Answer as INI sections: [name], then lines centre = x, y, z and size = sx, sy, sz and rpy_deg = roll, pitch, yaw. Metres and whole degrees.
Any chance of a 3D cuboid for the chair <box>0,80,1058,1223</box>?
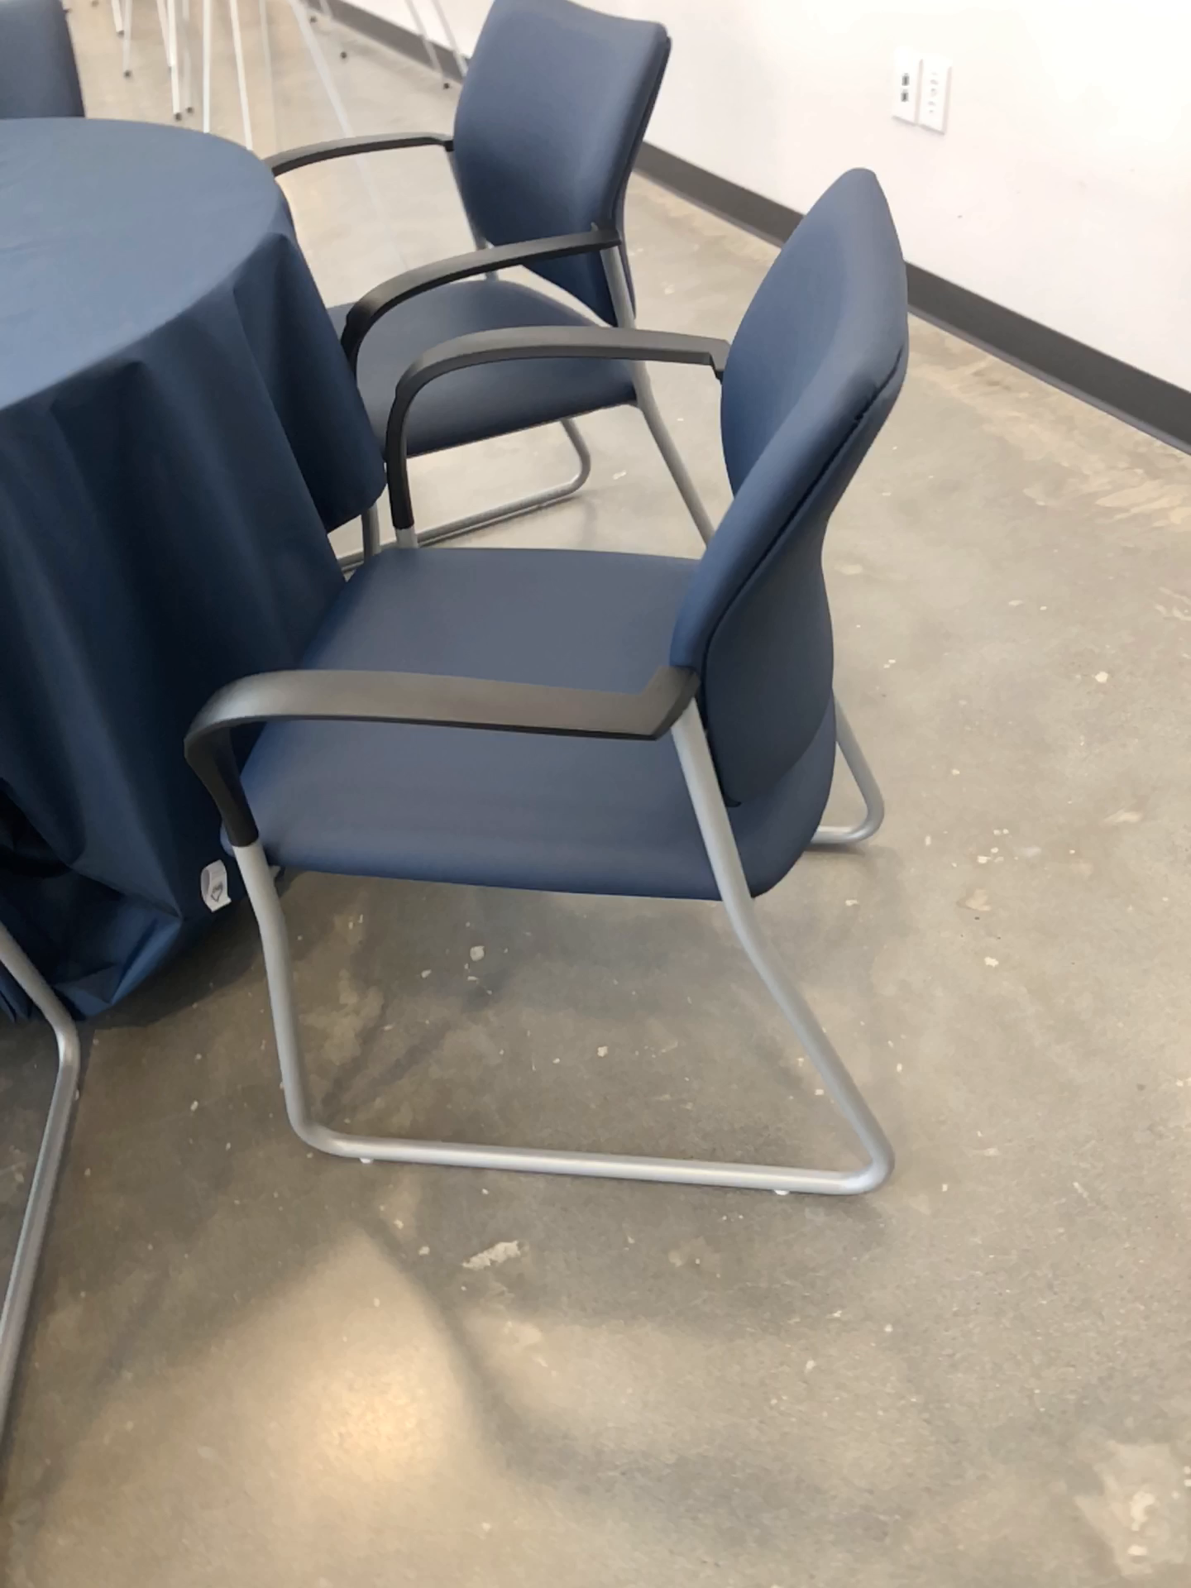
[chair]
centre = -0.018, -0.124, 1.196
size = 0.670, 0.765, 0.644
rpy_deg = 1, 43, 9
